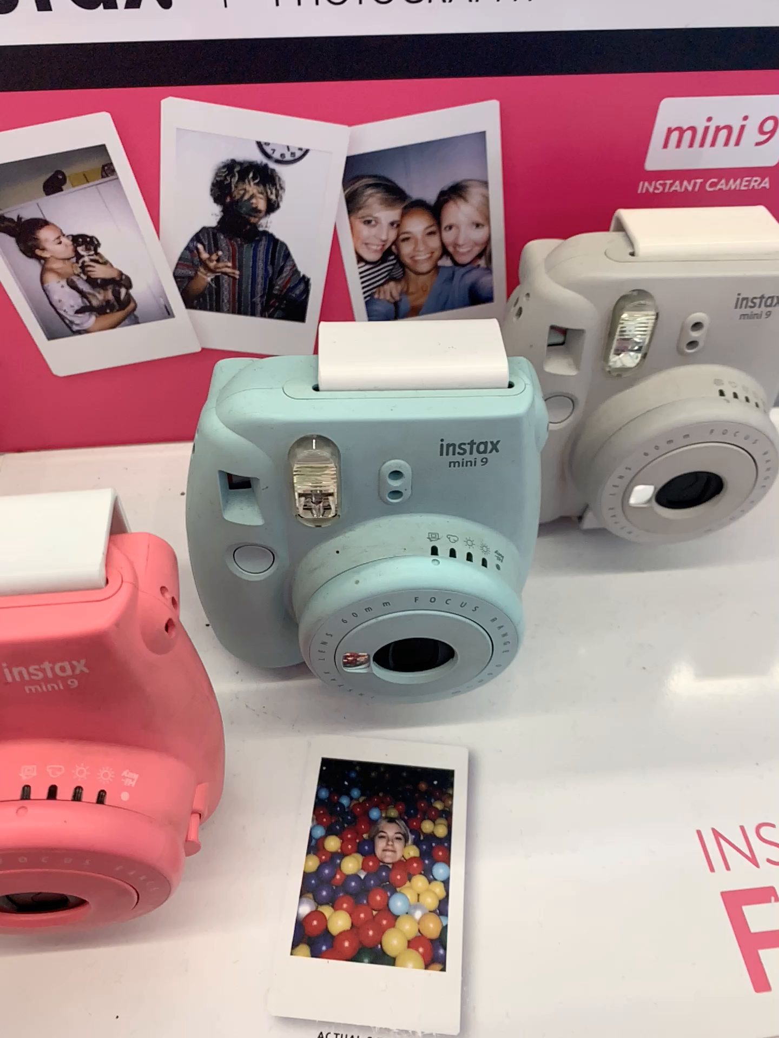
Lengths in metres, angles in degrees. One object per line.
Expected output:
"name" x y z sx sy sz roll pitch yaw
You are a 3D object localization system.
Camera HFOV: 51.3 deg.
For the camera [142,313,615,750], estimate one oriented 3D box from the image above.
"camera" -0.004 0.010 0.260 0.110 0.129 0.071 -1 48 -2
